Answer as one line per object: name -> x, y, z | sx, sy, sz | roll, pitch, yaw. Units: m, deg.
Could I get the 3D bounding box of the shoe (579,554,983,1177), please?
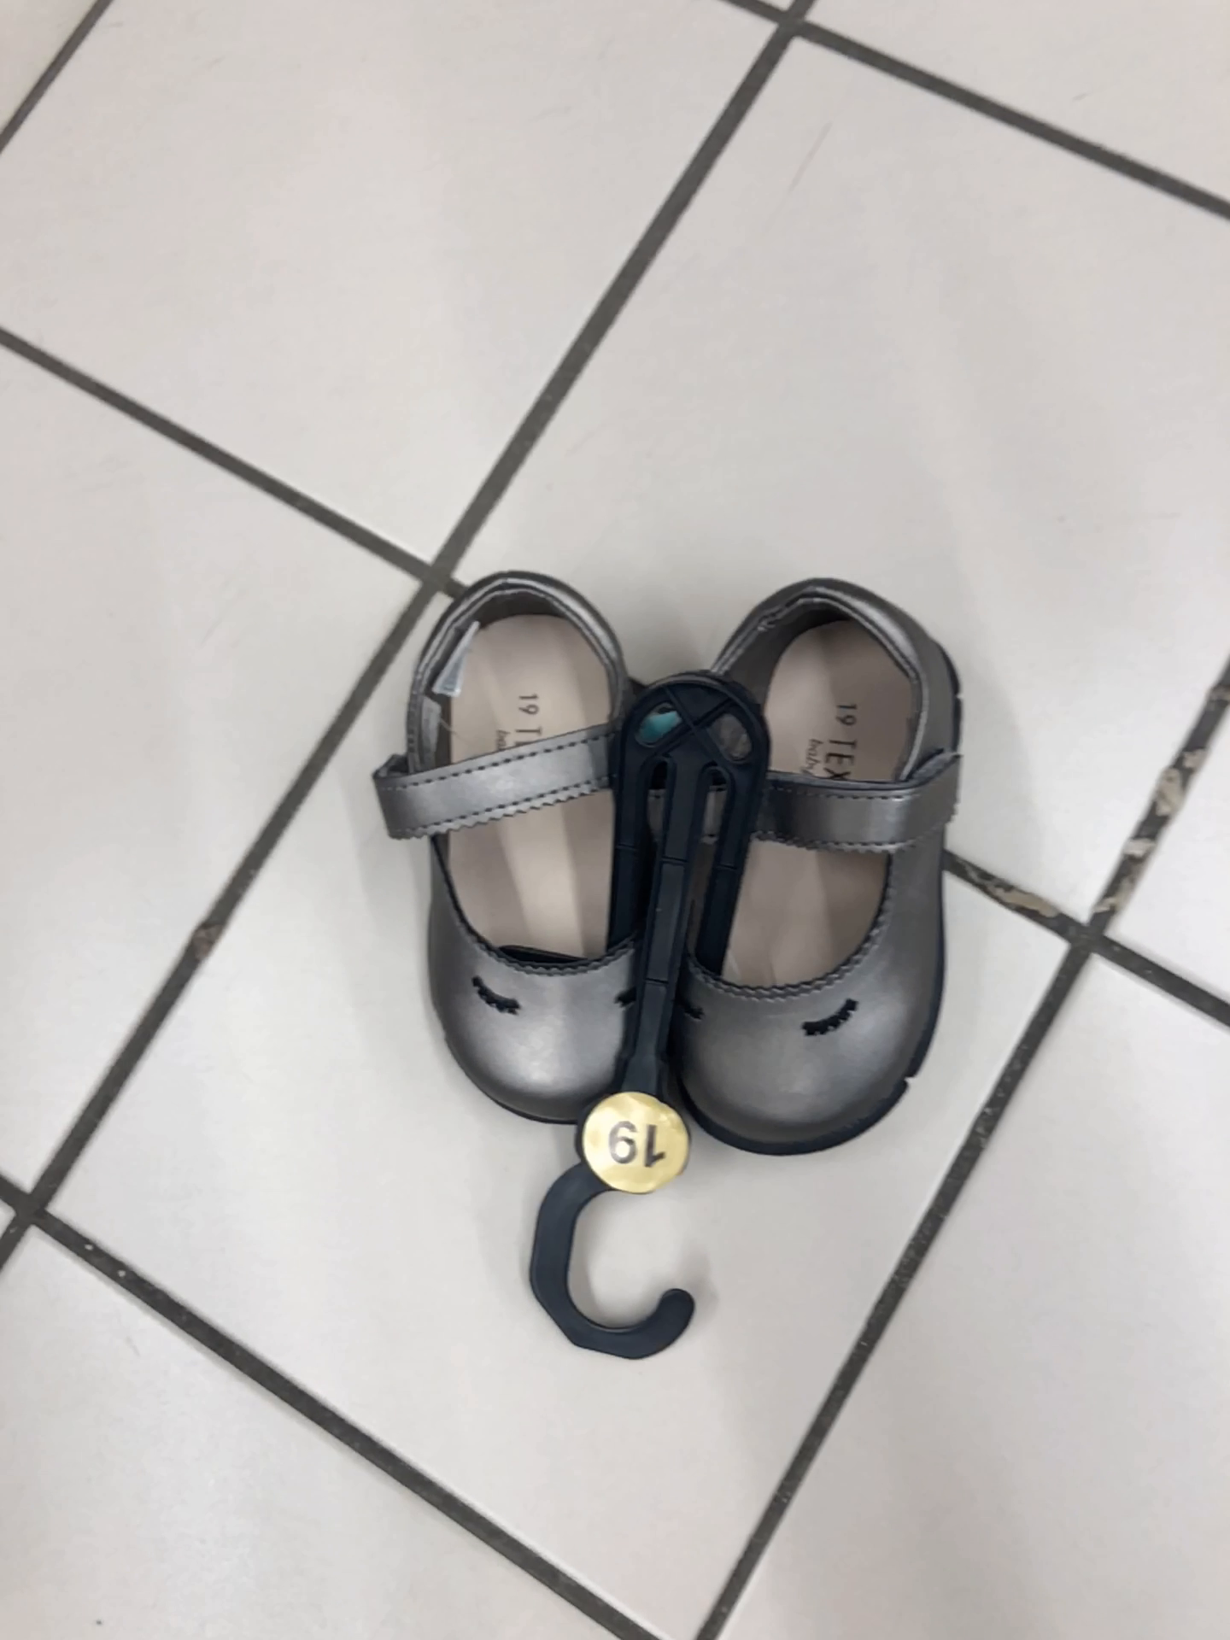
shoe -> 0.043, 0.012, 0.316 | 0.067, 0.062, 0.129 | 3, 78, 22

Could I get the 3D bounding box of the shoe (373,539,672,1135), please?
shoe -> -0.022, 0.006, 0.334 | 0.059, 0.047, 0.134 | -5, 77, 6
